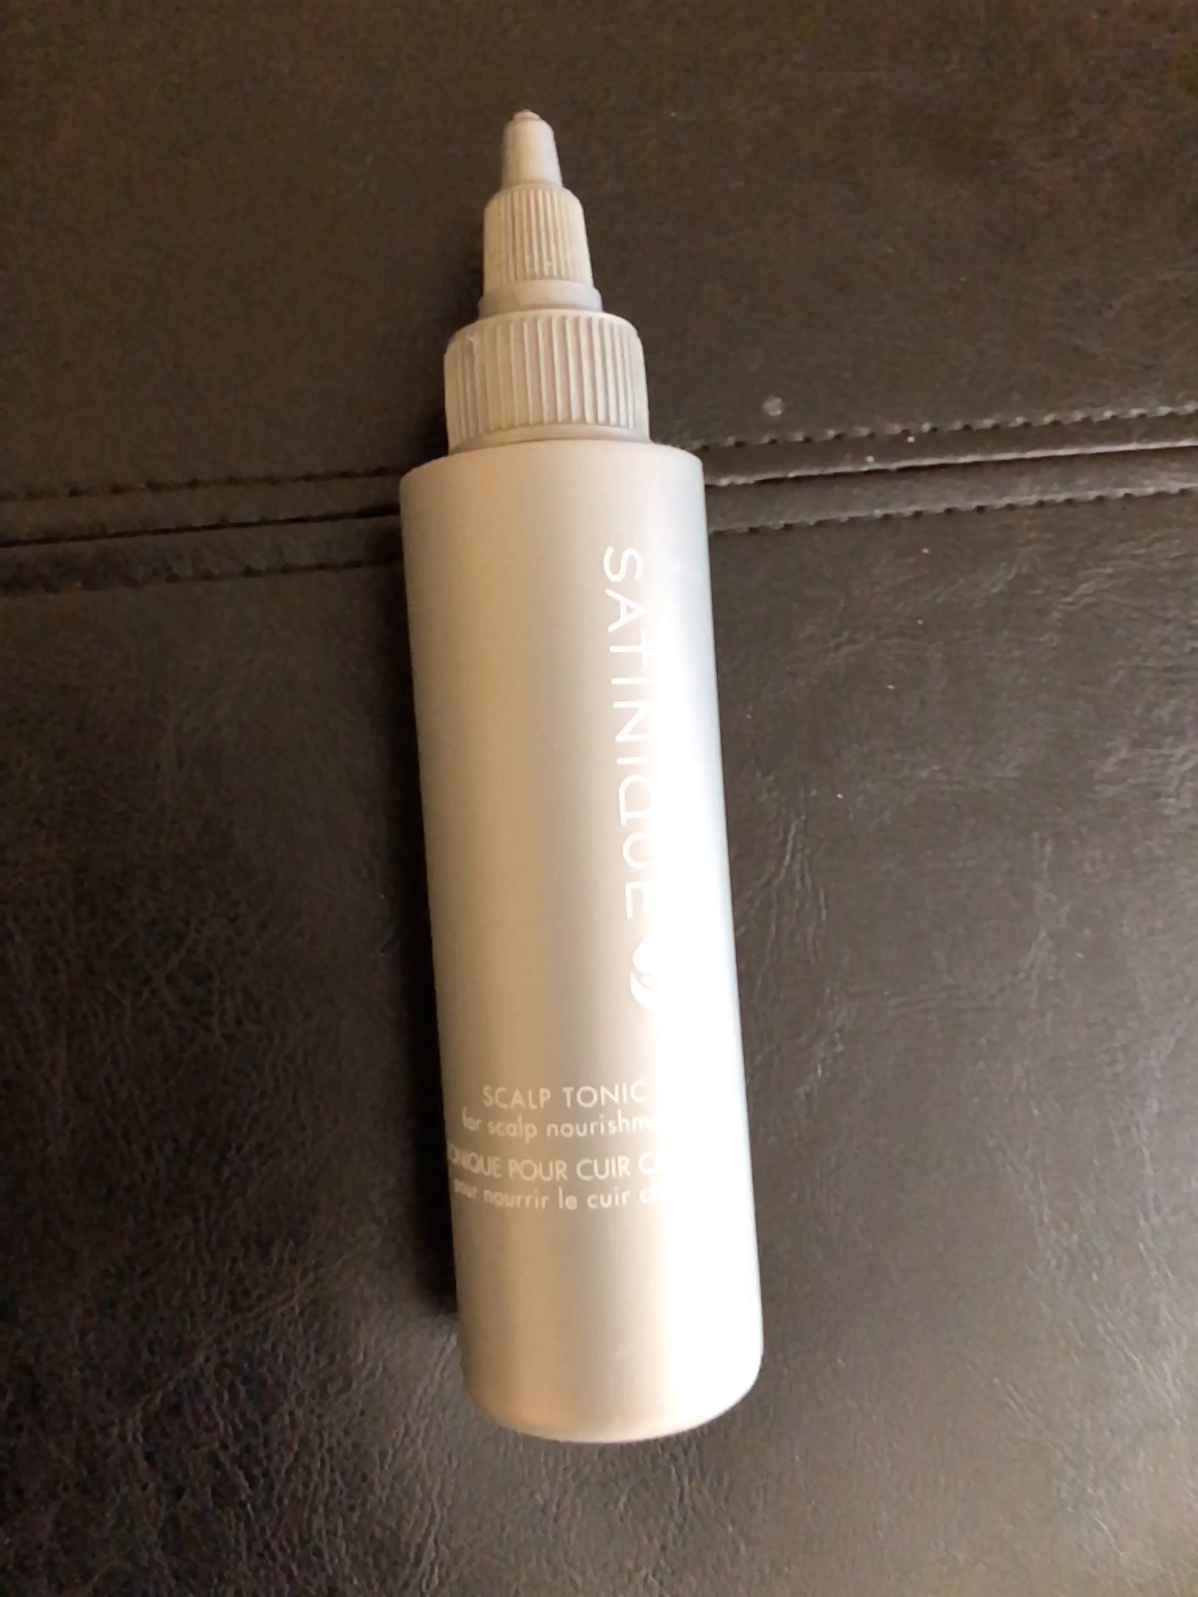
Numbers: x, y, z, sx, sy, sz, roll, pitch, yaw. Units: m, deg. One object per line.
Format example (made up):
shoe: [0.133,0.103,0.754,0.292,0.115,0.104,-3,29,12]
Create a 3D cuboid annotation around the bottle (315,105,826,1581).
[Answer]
bottle: [-0.006,0.004,0.152,0.040,0.040,0.140,-5,91,-12]
